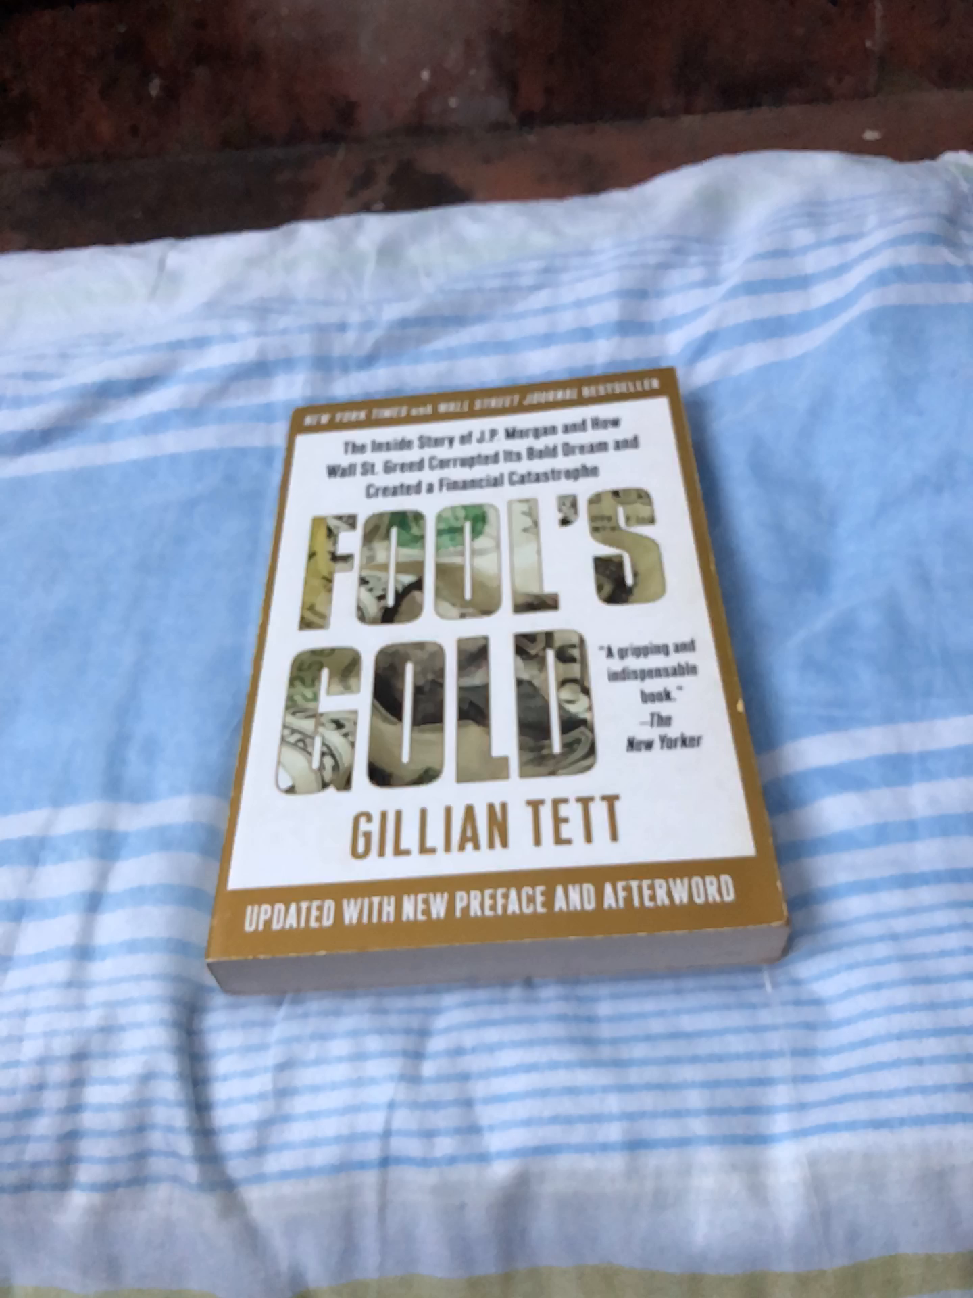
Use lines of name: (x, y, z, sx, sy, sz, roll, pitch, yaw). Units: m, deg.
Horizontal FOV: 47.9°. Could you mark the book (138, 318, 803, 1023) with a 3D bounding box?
book: (-0.005, -0.011, 0.335, 0.150, 0.040, 0.231, -5, 49, 5)
